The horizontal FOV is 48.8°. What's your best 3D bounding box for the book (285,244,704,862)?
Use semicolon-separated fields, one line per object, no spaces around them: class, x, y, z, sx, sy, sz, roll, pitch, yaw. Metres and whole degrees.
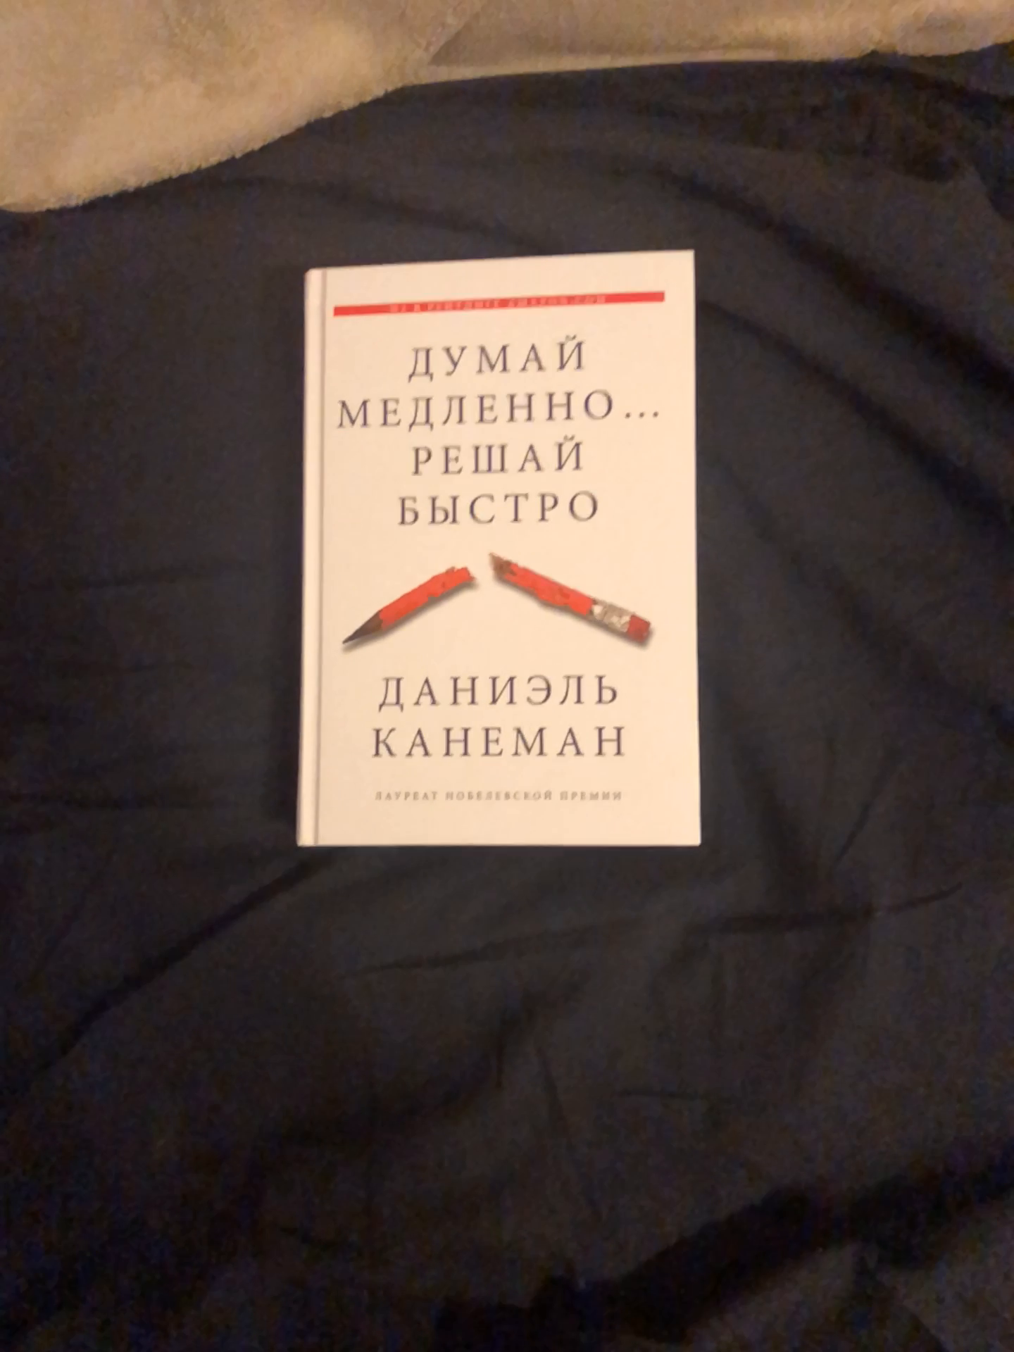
book;-0.003;-0.043;0.425;0.149;0.050;0.219;0;86;7
